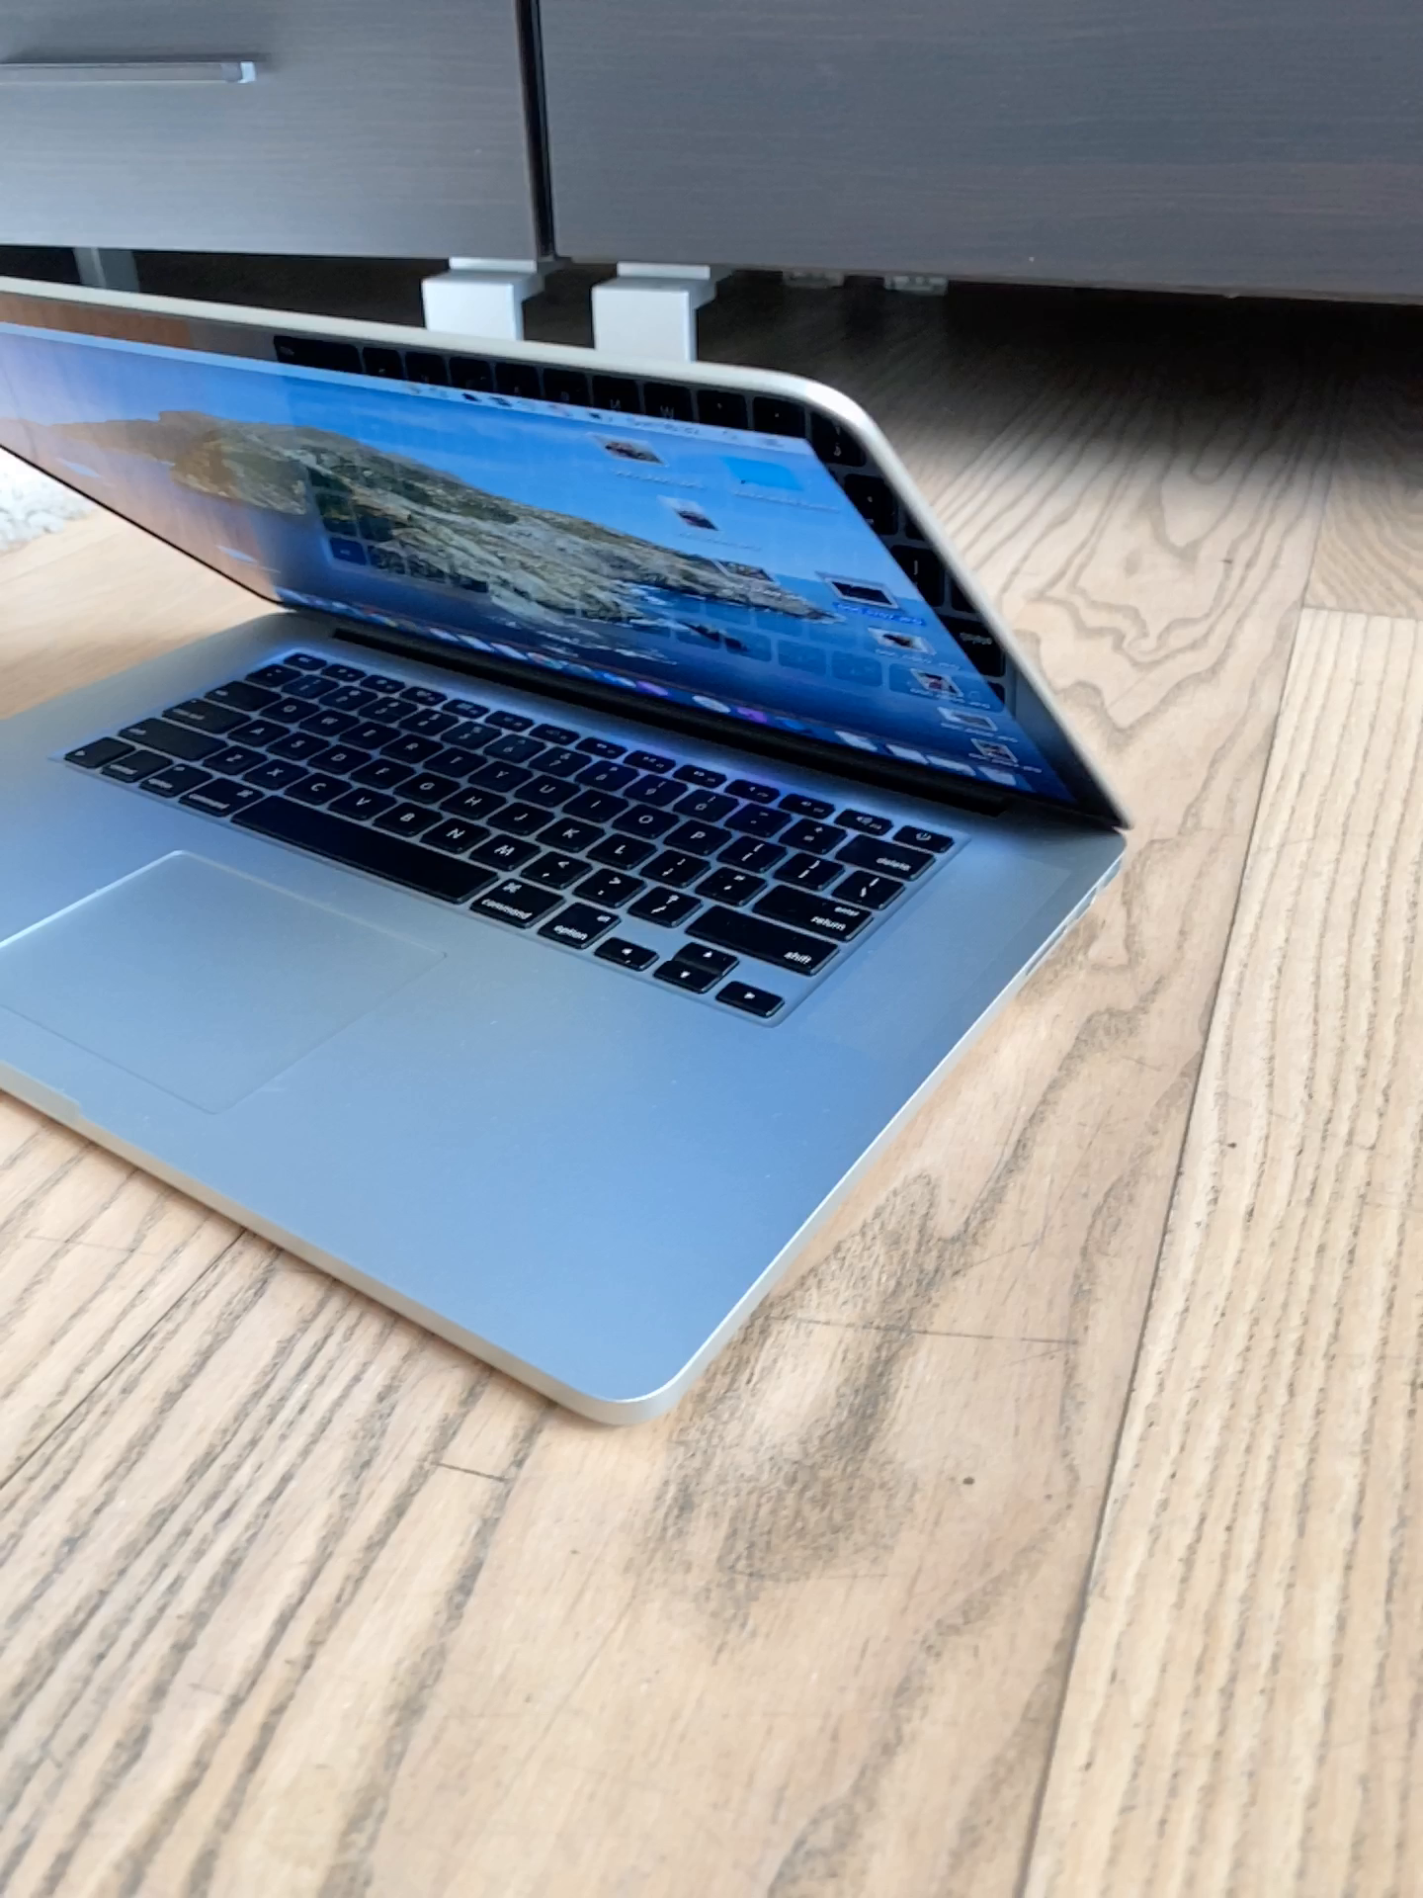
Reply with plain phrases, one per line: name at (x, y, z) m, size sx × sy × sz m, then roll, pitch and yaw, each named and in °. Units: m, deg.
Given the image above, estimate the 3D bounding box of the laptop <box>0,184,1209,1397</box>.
laptop at (-0.099, -0.093, 0.389) m, size 0.362 × 0.157 × 0.236 m, roll 19°, pitch 39°, yaw 28°
